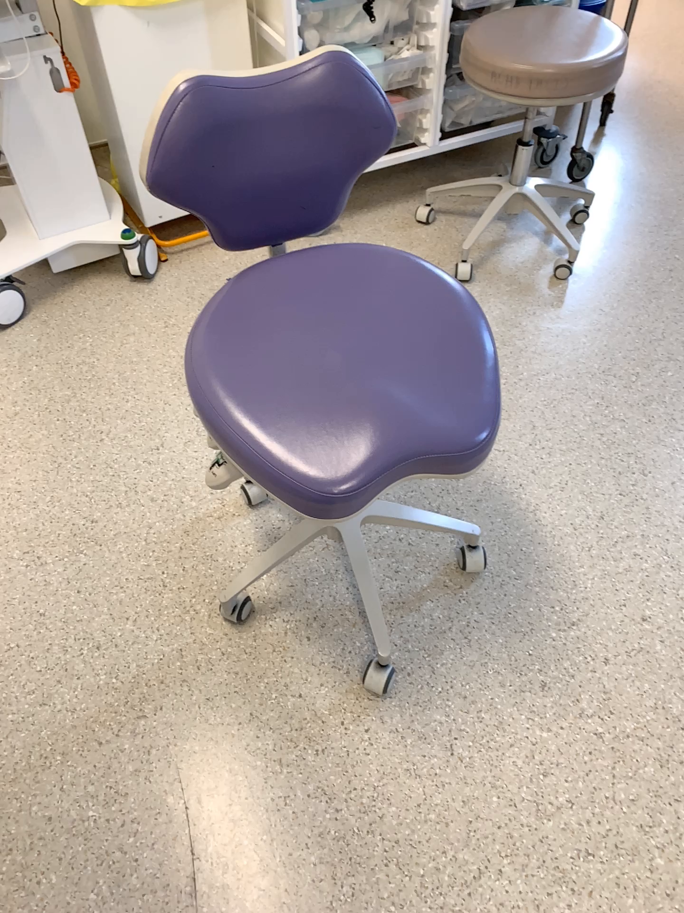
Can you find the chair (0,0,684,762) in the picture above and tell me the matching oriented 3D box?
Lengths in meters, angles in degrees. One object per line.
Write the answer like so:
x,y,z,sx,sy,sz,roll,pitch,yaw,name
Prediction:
-0.011,-0.114,1.030,0.601,0.823,0.655,-21,53,-14,chair
